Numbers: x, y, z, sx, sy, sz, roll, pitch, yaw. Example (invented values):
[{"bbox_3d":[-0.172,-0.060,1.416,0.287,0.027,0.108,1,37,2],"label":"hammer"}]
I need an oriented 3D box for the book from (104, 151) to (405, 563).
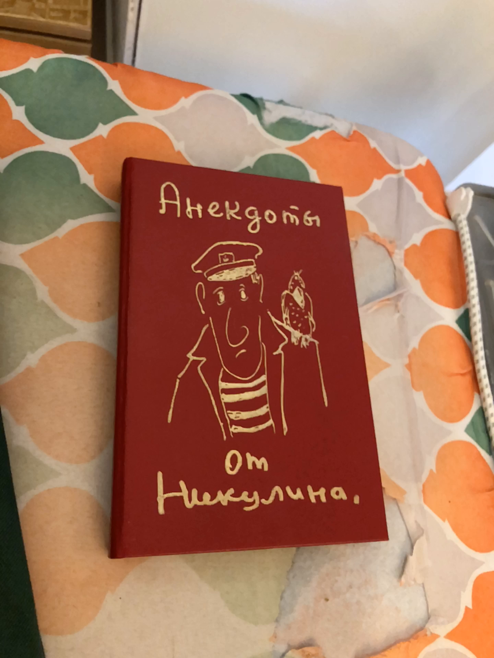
[{"bbox_3d":[-0.001,0.008,0.297,0.140,0.030,0.208,3,68,-17],"label":"book"}]
